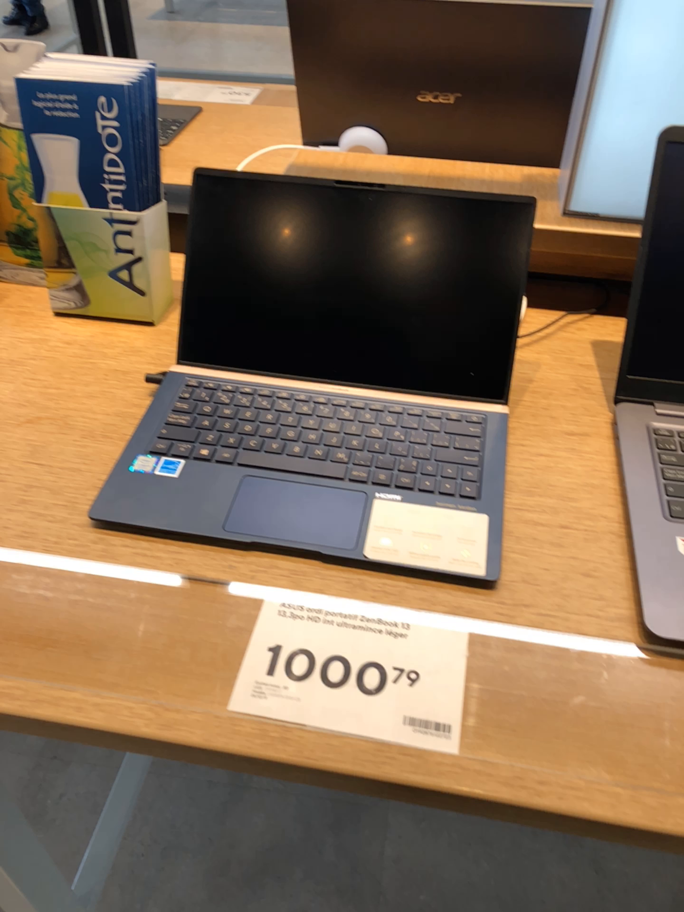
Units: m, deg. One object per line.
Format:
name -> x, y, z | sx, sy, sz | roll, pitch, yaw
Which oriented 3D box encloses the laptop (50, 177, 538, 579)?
laptop -> -0.011, -0.079, 0.571 | 0.276, 0.130, 0.277 | 8, 46, 10
